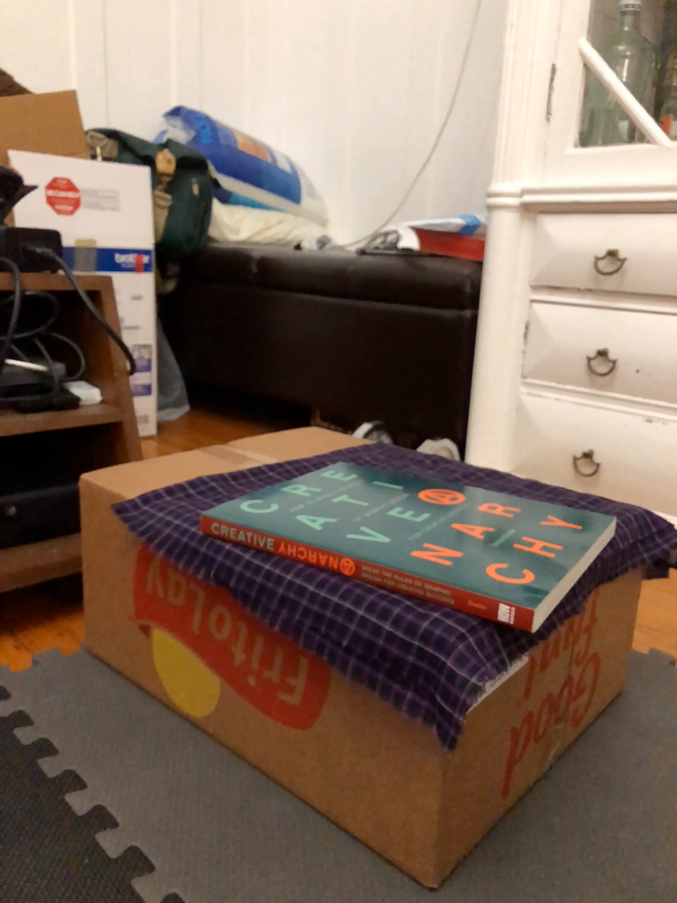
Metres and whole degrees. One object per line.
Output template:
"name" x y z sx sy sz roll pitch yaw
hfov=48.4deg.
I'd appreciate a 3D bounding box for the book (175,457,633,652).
"book" 0.057 0.062 0.607 0.300 0.020 0.221 11 17 30
